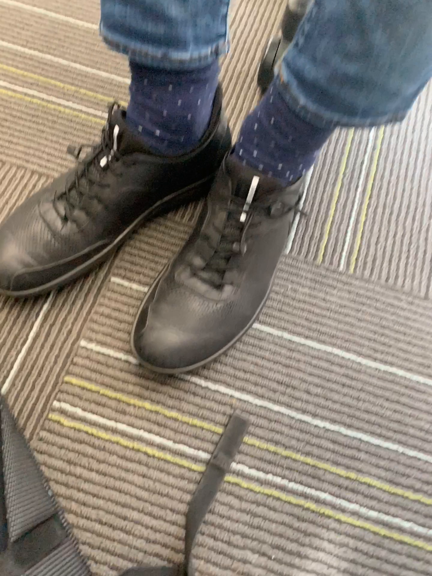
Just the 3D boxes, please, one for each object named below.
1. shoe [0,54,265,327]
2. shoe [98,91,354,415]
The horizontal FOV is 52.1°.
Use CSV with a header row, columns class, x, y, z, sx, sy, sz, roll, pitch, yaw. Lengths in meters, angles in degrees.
class,x,y,z,sx,sy,sz,roll,pitch,yaw
shoe,-0.107,-0.107,0.467,0.310,0.100,0.110,-37,75,-17
shoe,0.021,-0.042,0.457,0.110,0.100,0.310,27,69,7
